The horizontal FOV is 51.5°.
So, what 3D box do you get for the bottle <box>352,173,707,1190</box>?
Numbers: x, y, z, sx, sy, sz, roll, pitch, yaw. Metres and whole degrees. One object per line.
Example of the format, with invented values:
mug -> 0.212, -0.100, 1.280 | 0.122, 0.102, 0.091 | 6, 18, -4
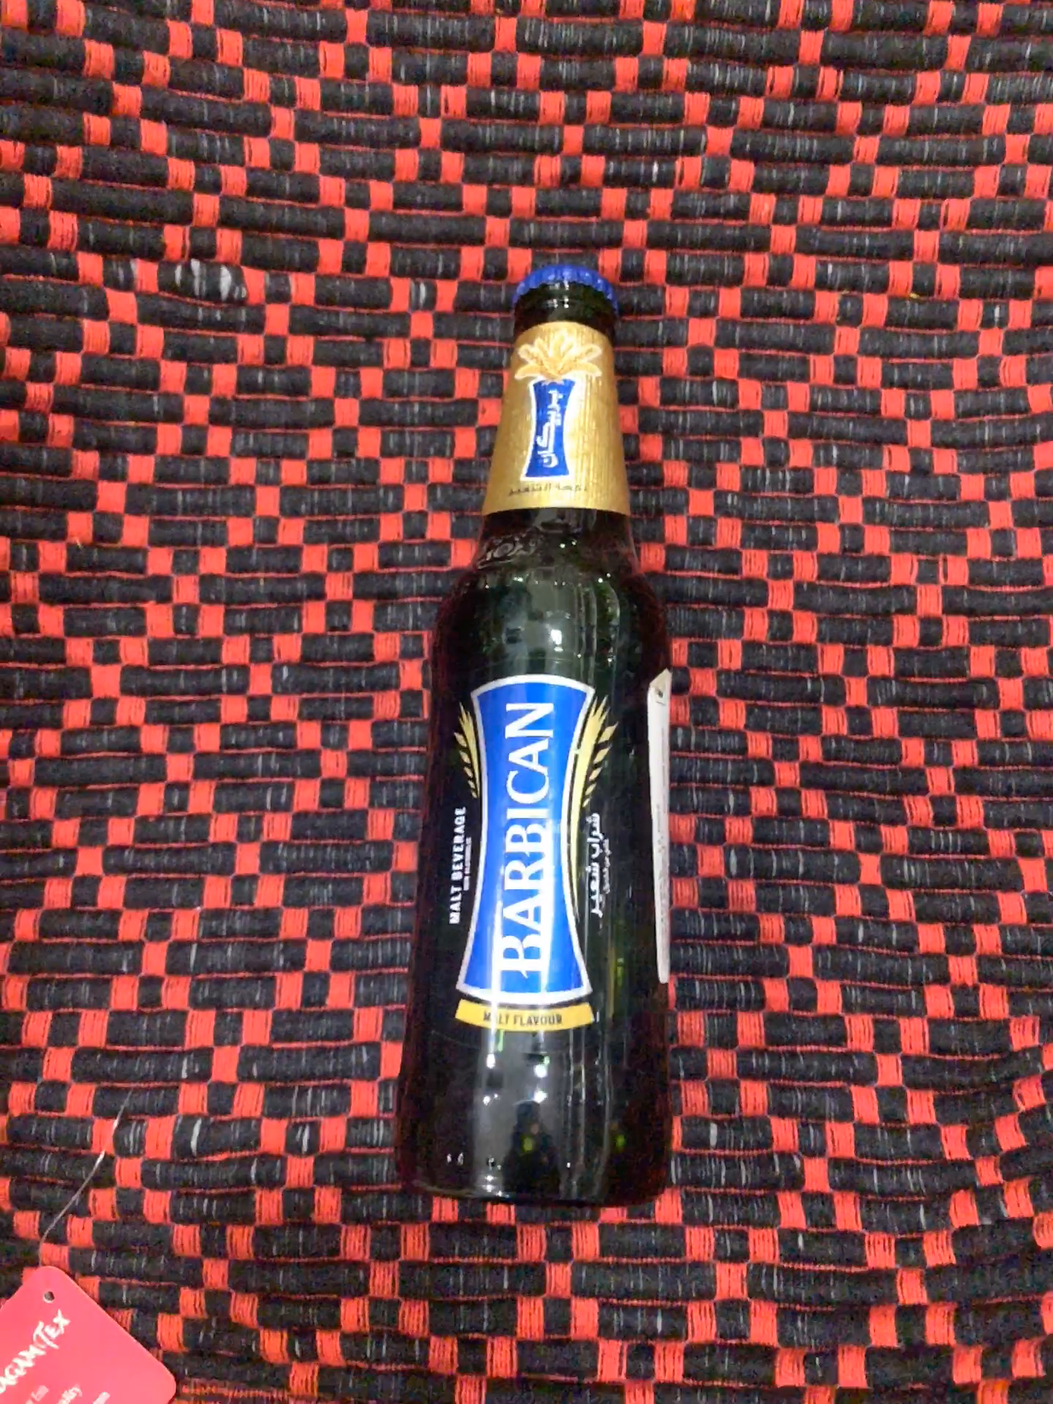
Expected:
bottle -> 0.004, -0.010, 0.245 | 0.060, 0.060, 0.210 | 3, 72, -1
